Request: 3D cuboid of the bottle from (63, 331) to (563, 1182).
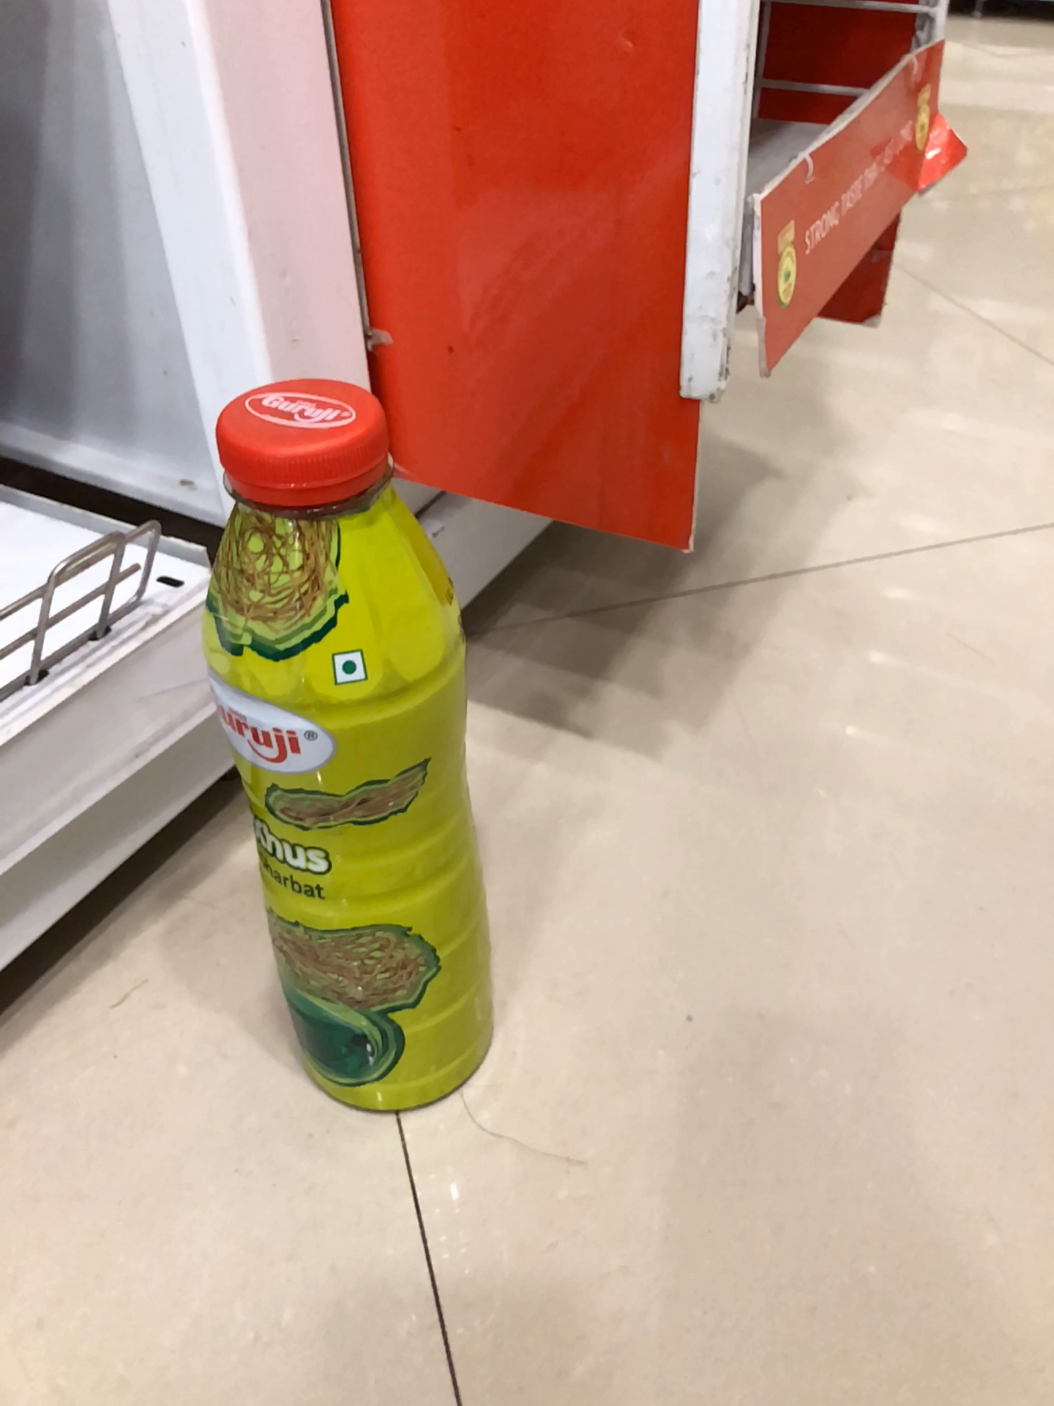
[{"bbox_3d":[-0.048,0.027,0.350,0.080,0.238,0.080,-2,39,1],"label":"bottle"}]
